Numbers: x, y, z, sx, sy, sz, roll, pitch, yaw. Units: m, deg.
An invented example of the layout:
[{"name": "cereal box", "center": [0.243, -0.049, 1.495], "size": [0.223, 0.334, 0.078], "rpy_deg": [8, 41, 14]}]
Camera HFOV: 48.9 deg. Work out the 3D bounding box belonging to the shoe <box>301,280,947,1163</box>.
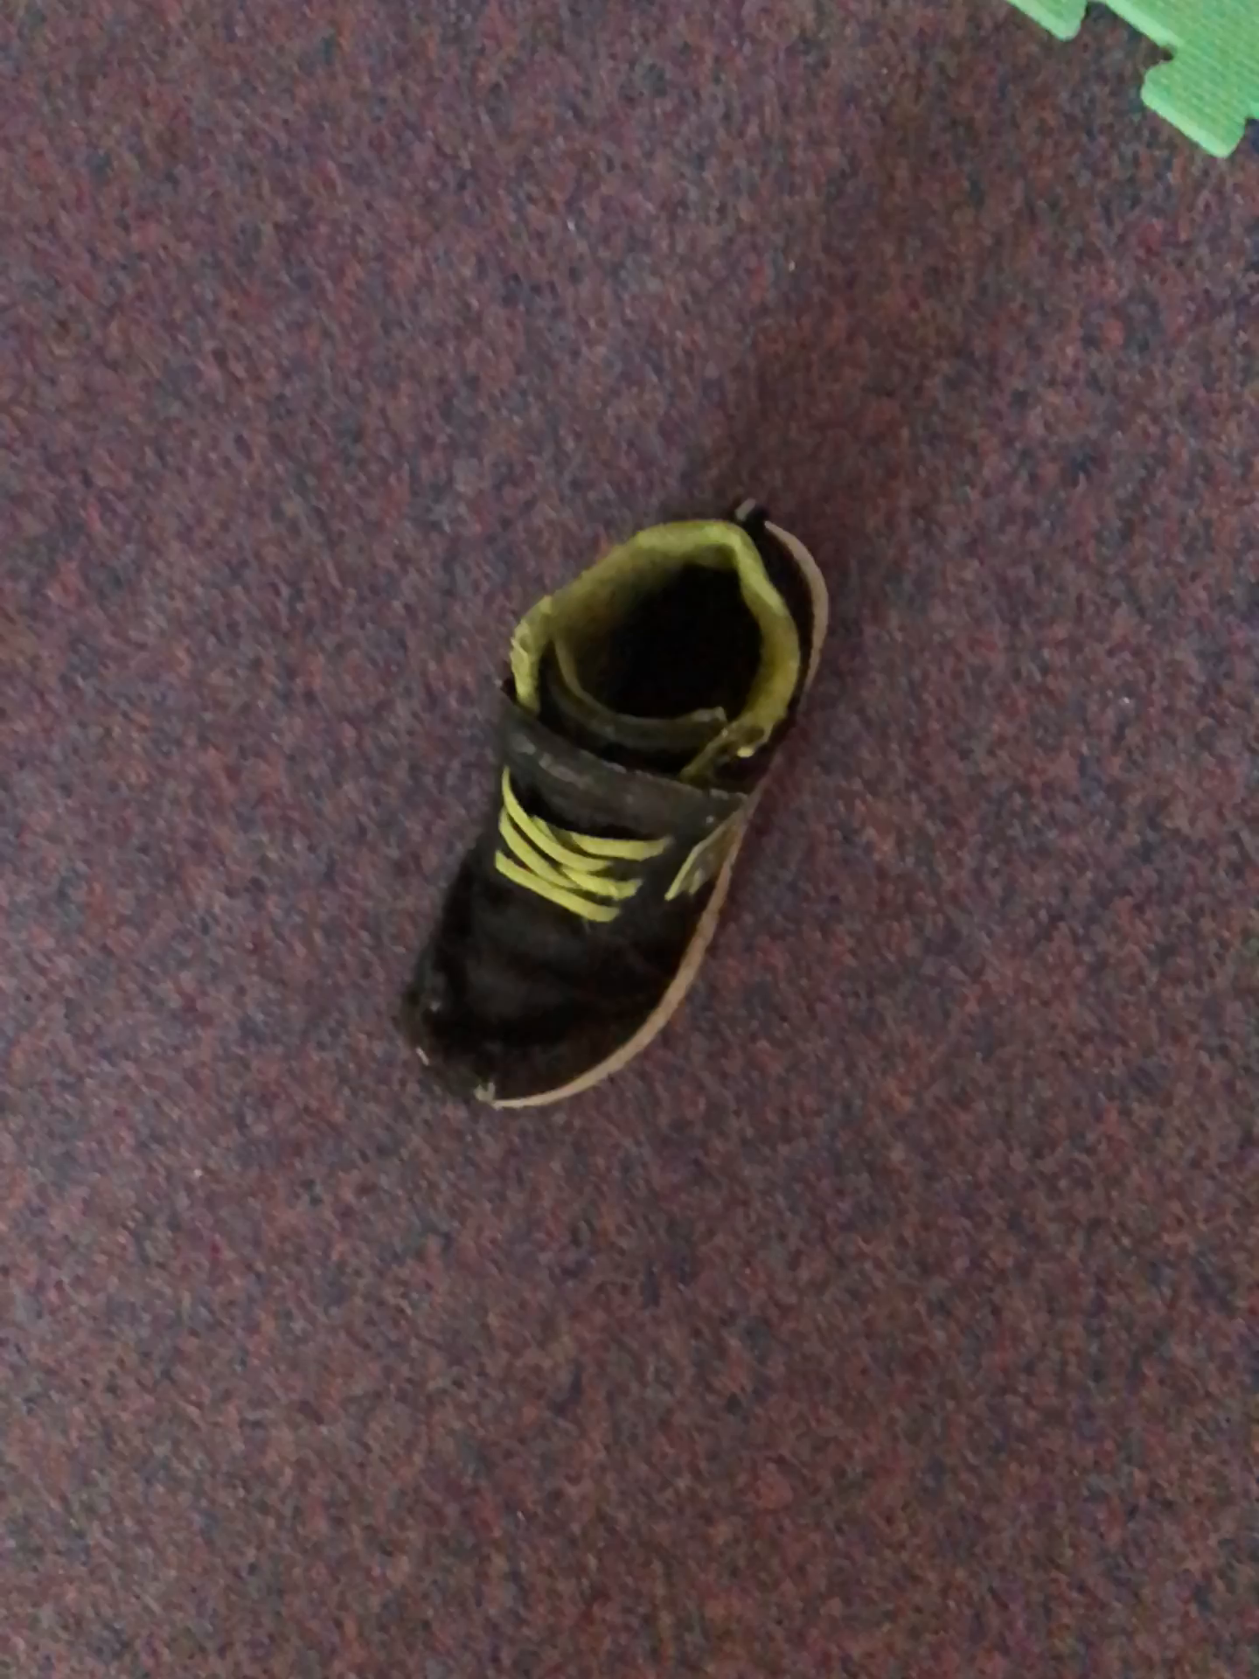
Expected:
[{"name": "shoe", "center": [0.003, -0.031, 0.420], "size": [0.090, 0.100, 0.220], "rpy_deg": [25, 90, 8]}]
